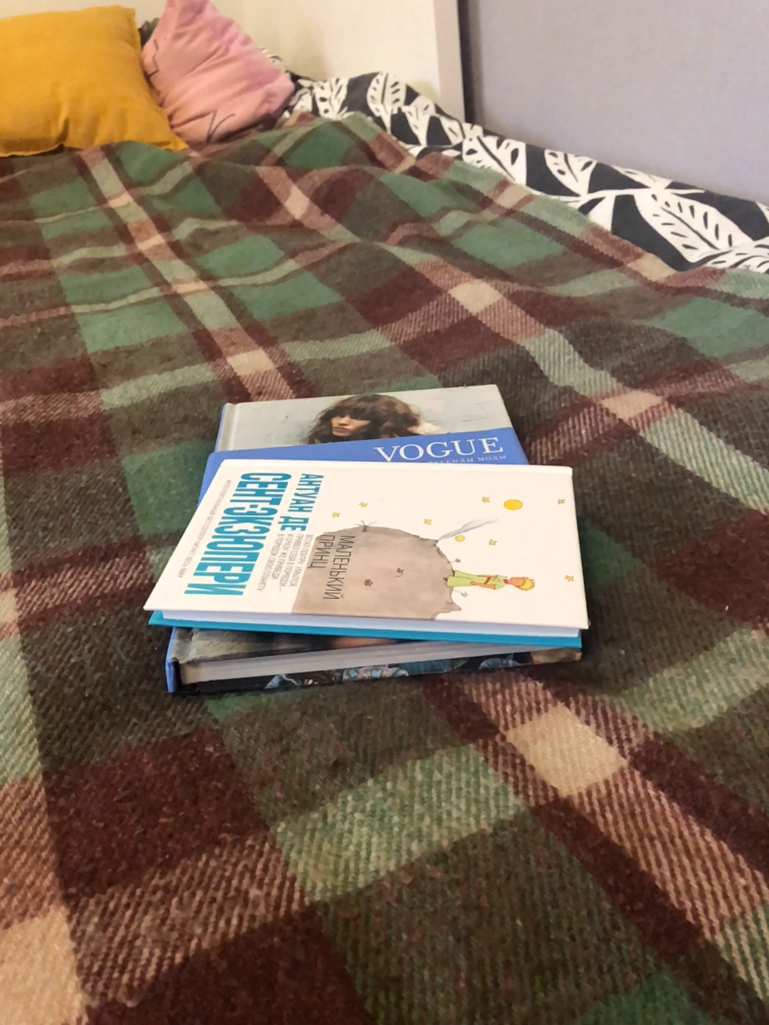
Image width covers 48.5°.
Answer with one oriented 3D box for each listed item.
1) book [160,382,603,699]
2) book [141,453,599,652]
[{"bbox_3d":[-0.008,-0.004,0.443,0.174,0.023,0.241,-4,32,-2],"label":"book"},{"bbox_3d":[-0.001,0.011,0.368,0.170,0.014,0.120,2,32,7],"label":"book"}]
